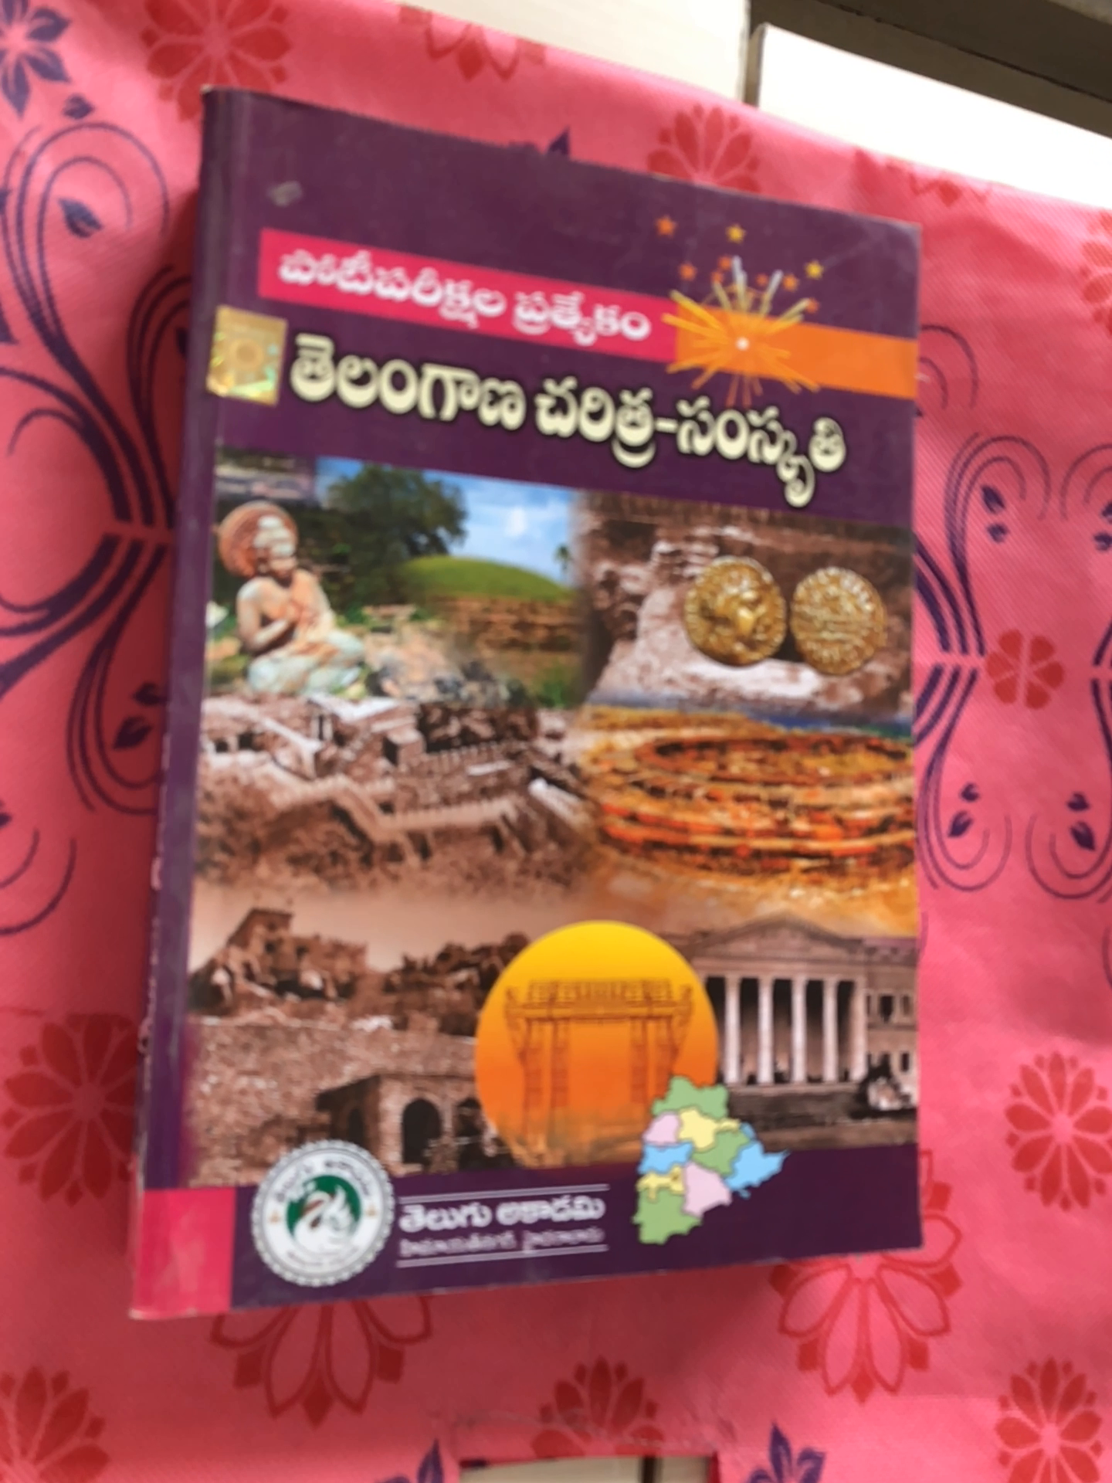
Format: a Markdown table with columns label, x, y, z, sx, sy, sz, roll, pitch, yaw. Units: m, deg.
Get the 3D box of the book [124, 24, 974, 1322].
| label | x | y | z | sx | sy | sz | roll | pitch | yaw |
| --- | --- | --- | --- | --- | --- | --- | --- | --- | --- |
| book | 0.004 | -0.015 | 0.312 | 0.200 | 0.050 | 0.280 | 3 | 83 | -17 |
